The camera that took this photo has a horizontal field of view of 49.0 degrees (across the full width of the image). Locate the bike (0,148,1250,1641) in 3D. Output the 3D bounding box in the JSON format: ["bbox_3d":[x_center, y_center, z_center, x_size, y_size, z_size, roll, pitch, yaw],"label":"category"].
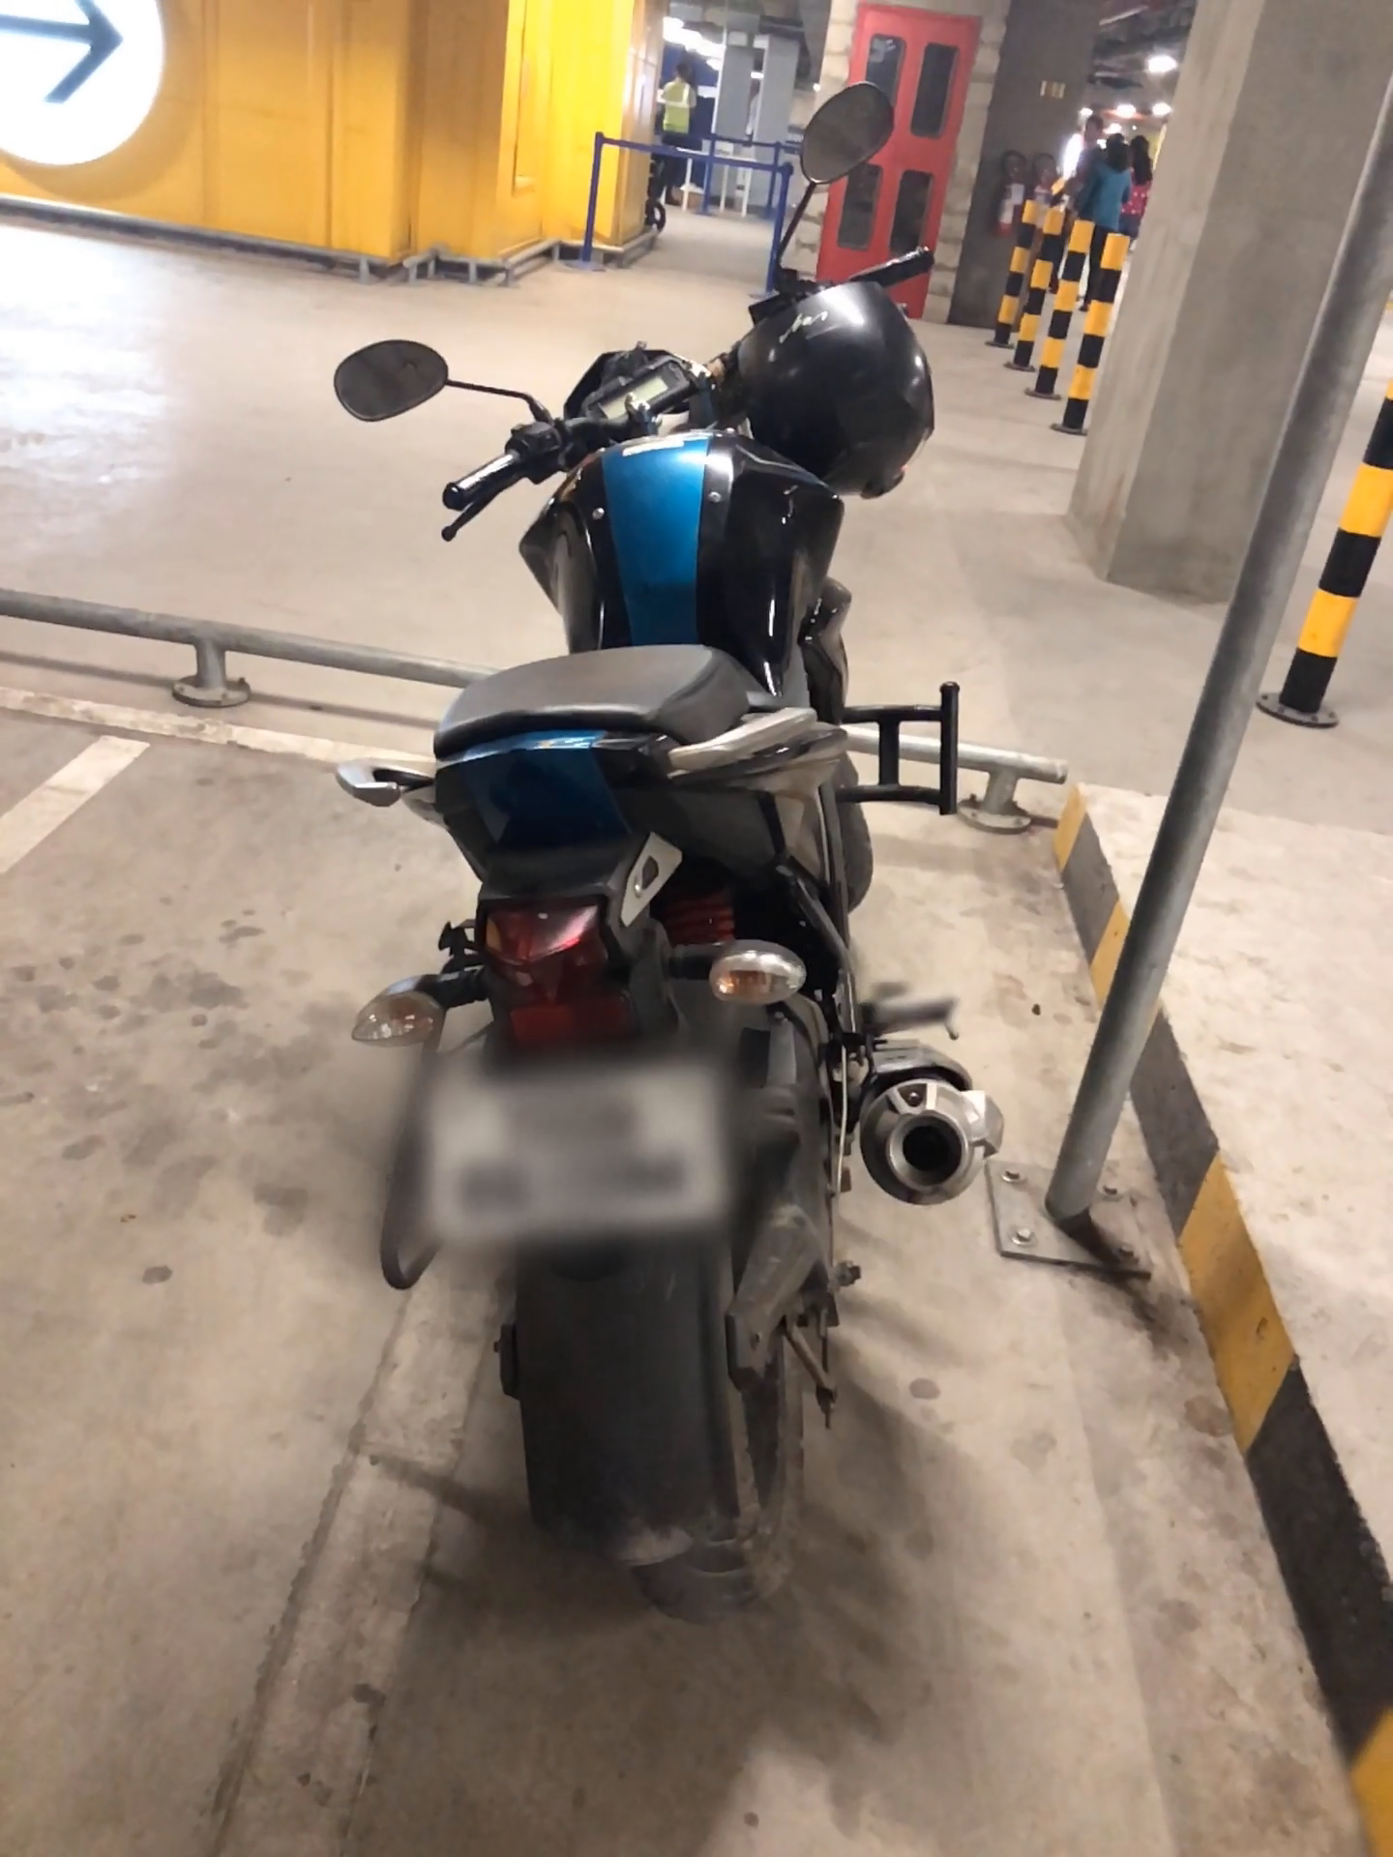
[{"bbox_3d":[-0.162,-0.229,1.648,0.766,0.951,1.422,7,28,-4],"label":"bike"}]
